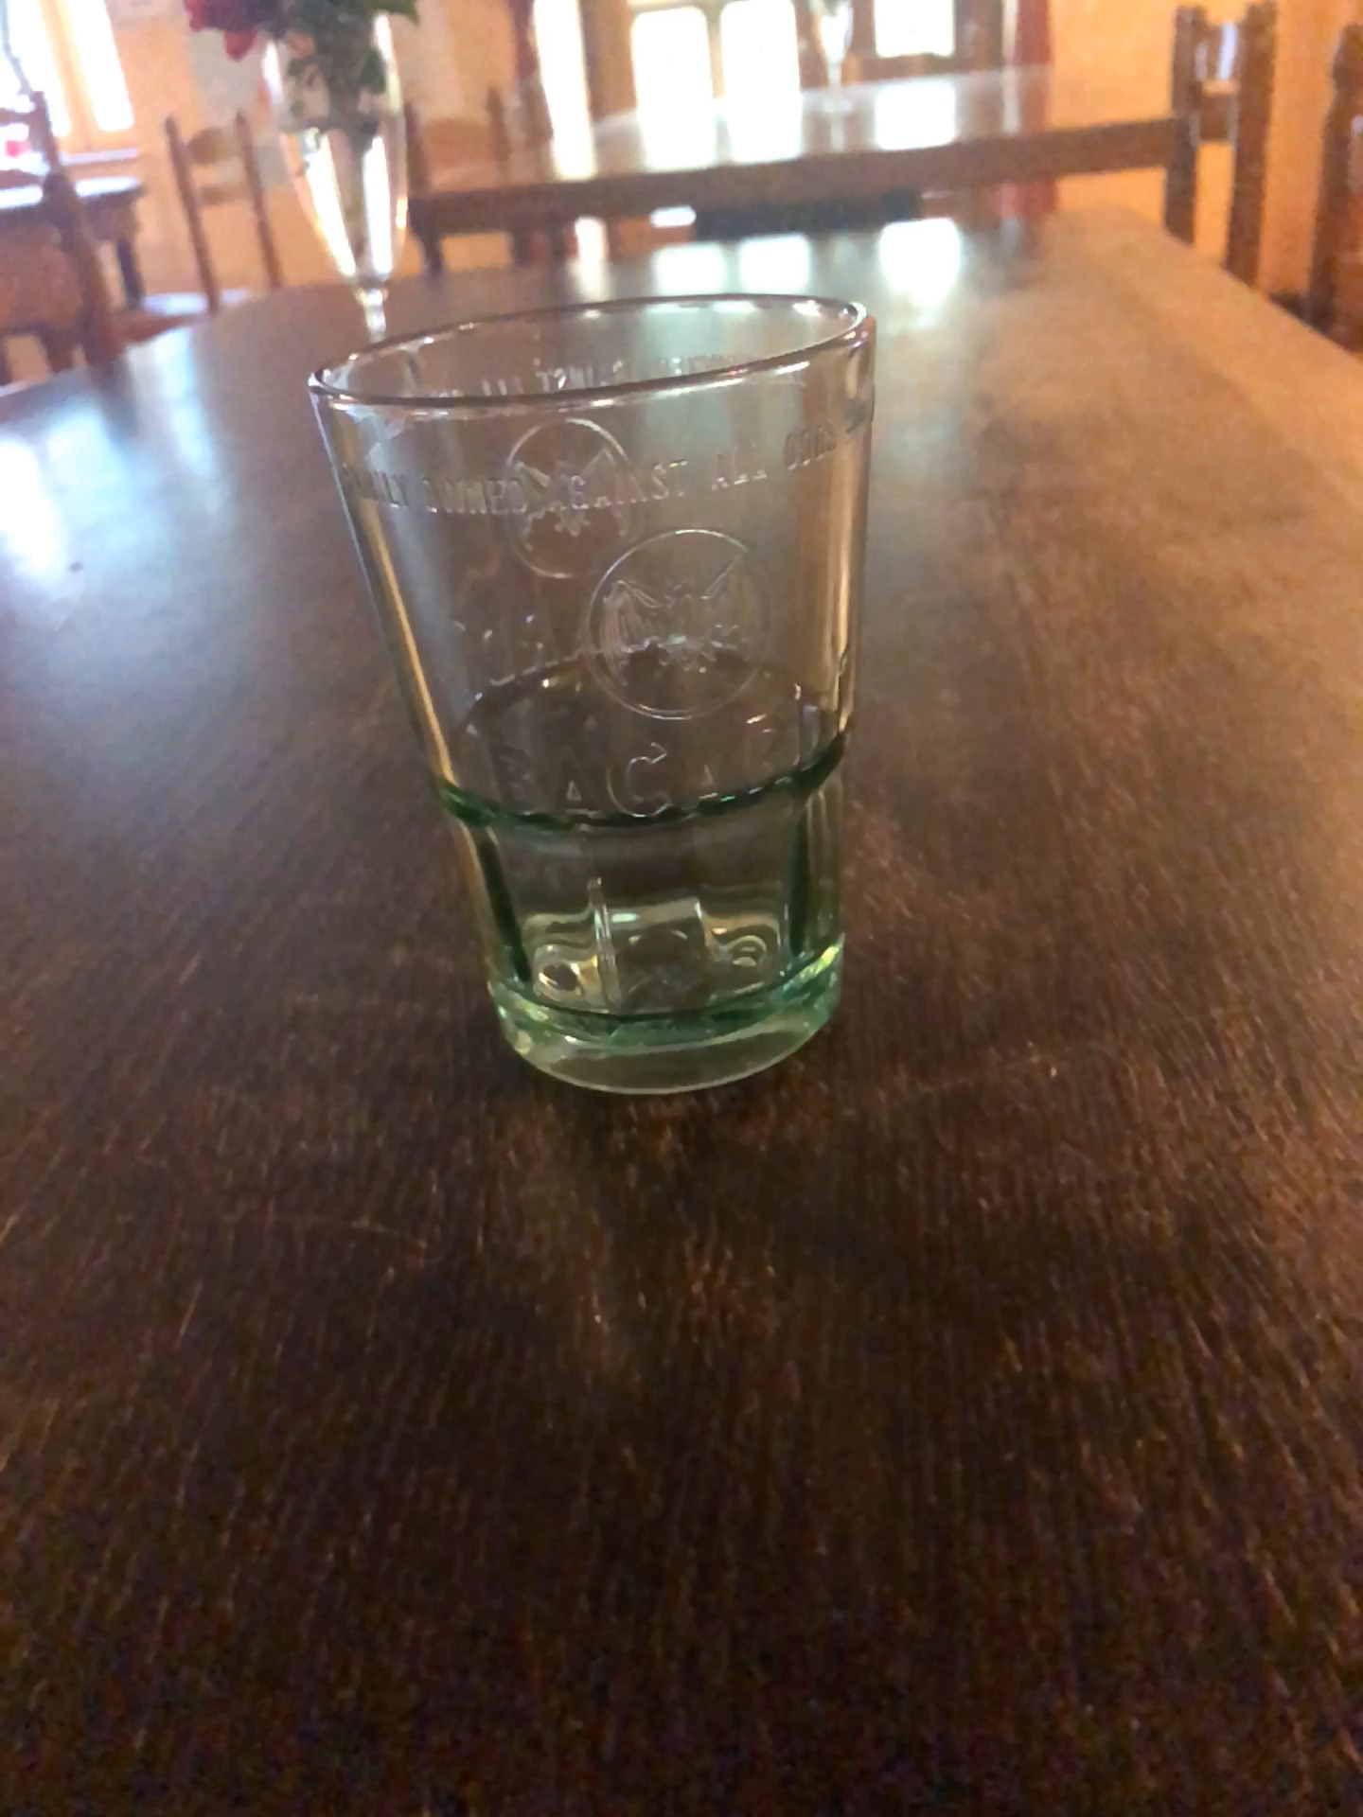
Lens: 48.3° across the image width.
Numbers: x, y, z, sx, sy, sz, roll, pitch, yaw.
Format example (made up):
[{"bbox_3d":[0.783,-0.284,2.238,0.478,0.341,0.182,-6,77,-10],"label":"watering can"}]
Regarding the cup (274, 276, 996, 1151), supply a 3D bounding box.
[{"bbox_3d":[-0.001,-0.034,0.239,0.083,0.103,0.089,-5,29,3],"label":"cup"}]
